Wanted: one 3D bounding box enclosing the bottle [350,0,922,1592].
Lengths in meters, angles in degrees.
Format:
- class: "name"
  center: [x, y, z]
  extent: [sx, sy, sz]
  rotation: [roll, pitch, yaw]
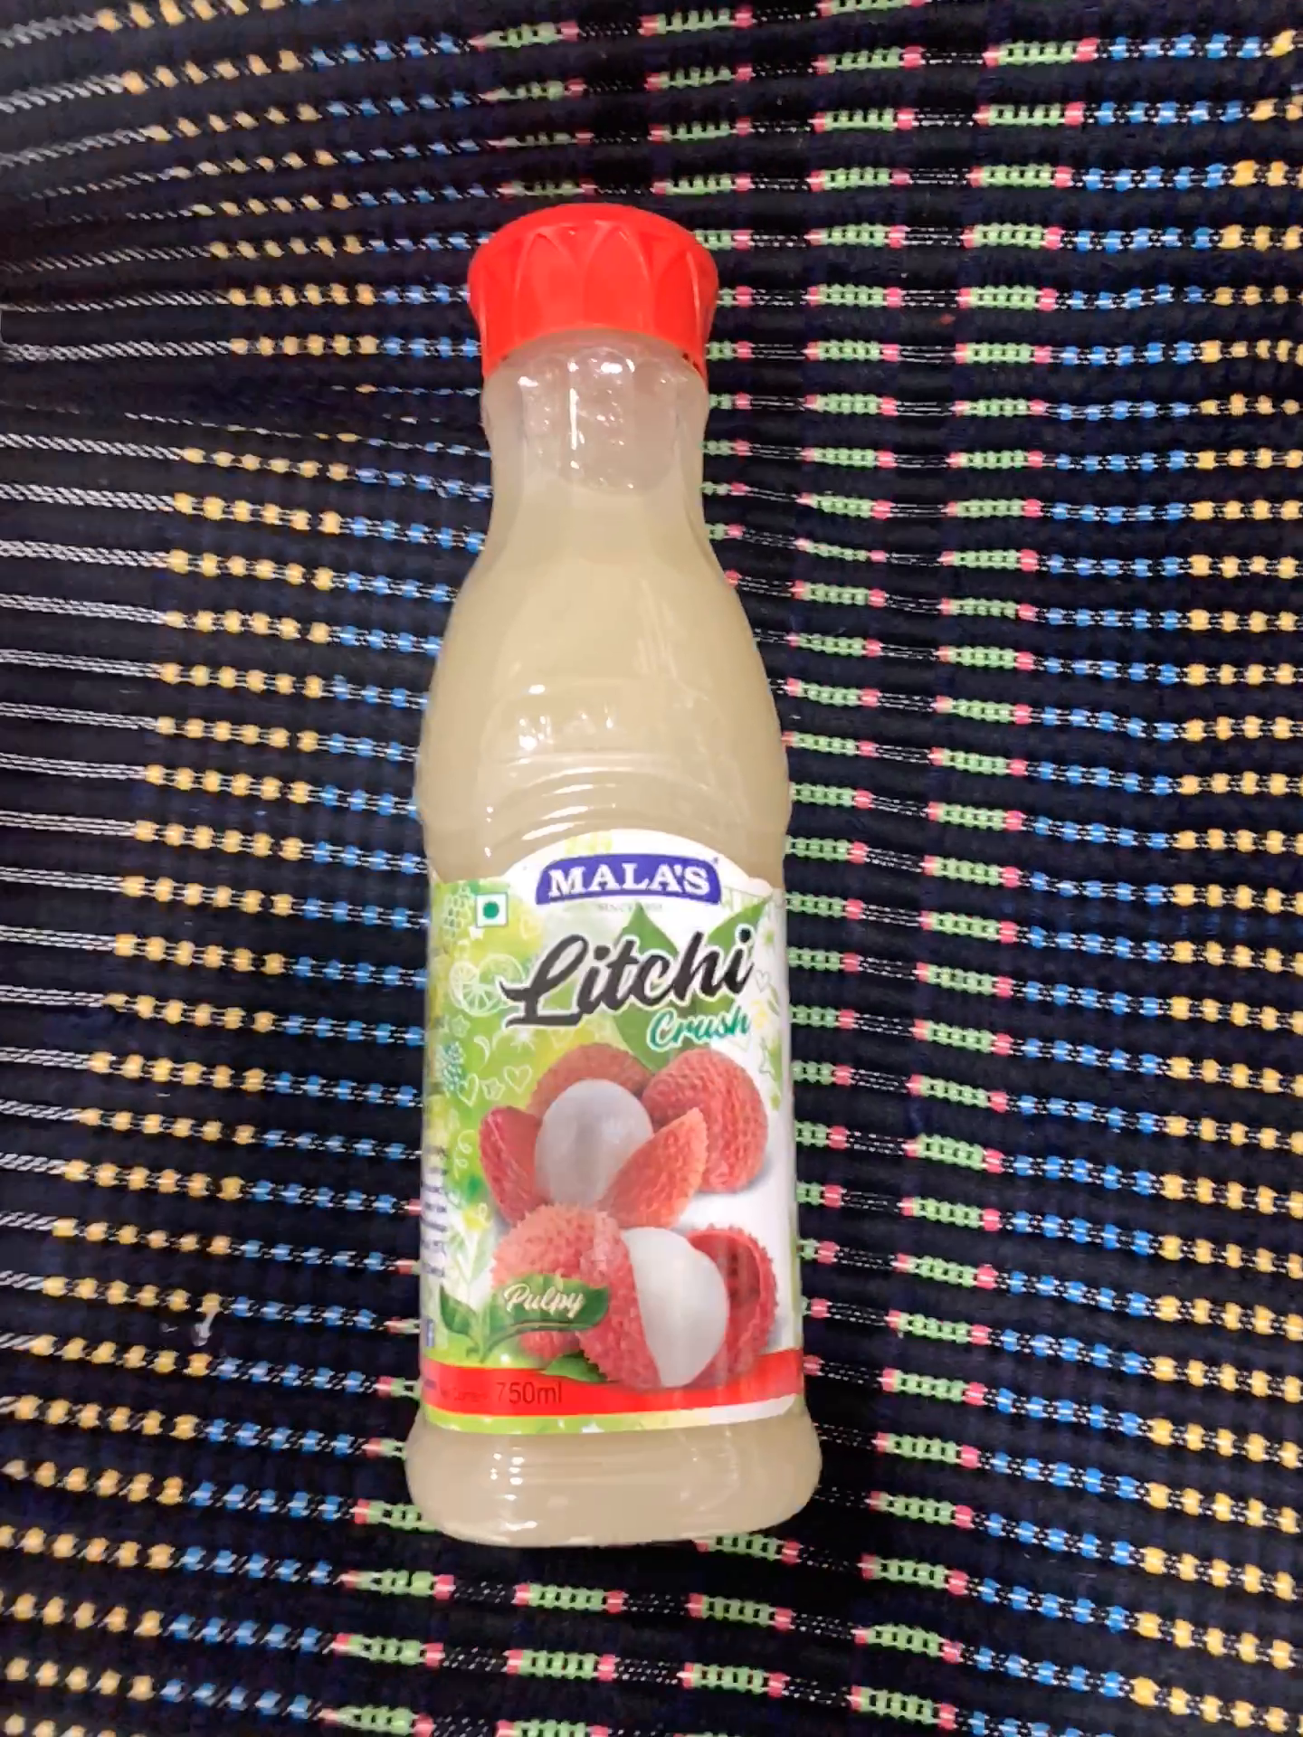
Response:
- class: "bottle"
  center: [-0.007, -0.023, 0.248]
  extent: [0.080, 0.080, 0.260]
  rotation: [0, 81, -5]
